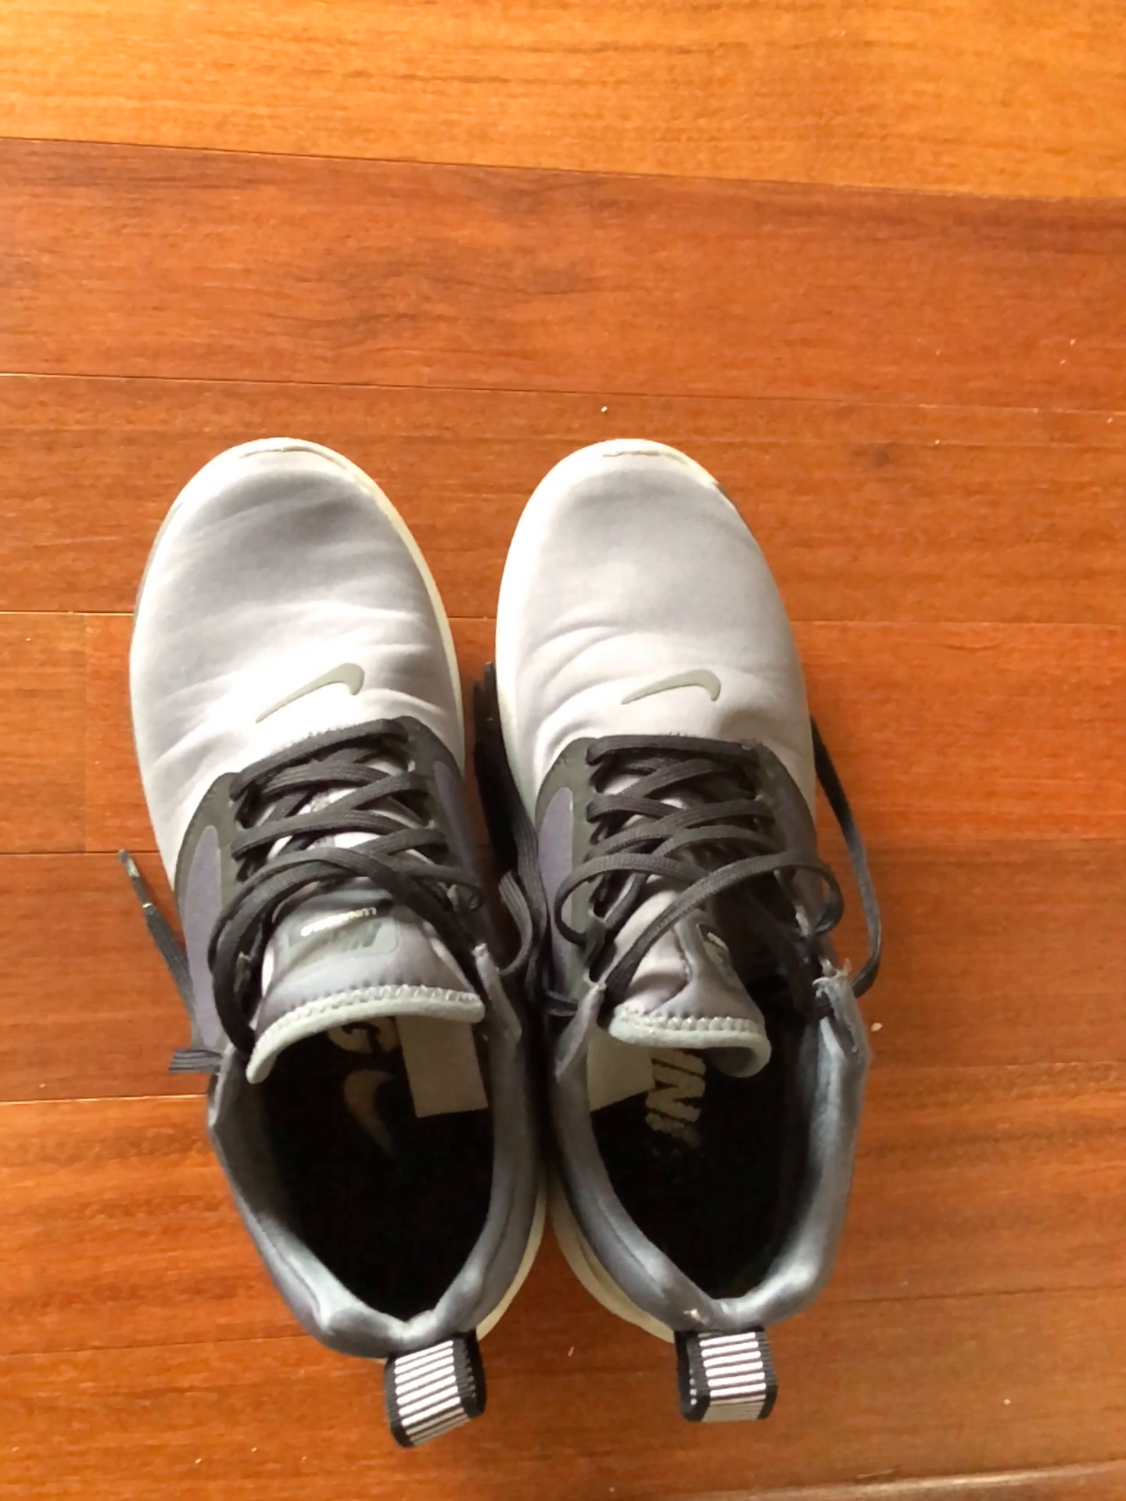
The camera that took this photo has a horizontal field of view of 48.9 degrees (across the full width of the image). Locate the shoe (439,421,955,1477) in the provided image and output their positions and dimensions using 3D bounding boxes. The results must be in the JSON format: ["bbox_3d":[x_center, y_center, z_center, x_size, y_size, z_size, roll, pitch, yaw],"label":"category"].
[{"bbox_3d":[0.026,0.044,0.340,0.110,0.100,0.240,-2,87,-7],"label":"shoe"}]

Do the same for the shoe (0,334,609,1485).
[{"bbox_3d":[-0.070,0.033,0.327,0.110,0.100,0.240,-10,88,-7],"label":"shoe"}]
